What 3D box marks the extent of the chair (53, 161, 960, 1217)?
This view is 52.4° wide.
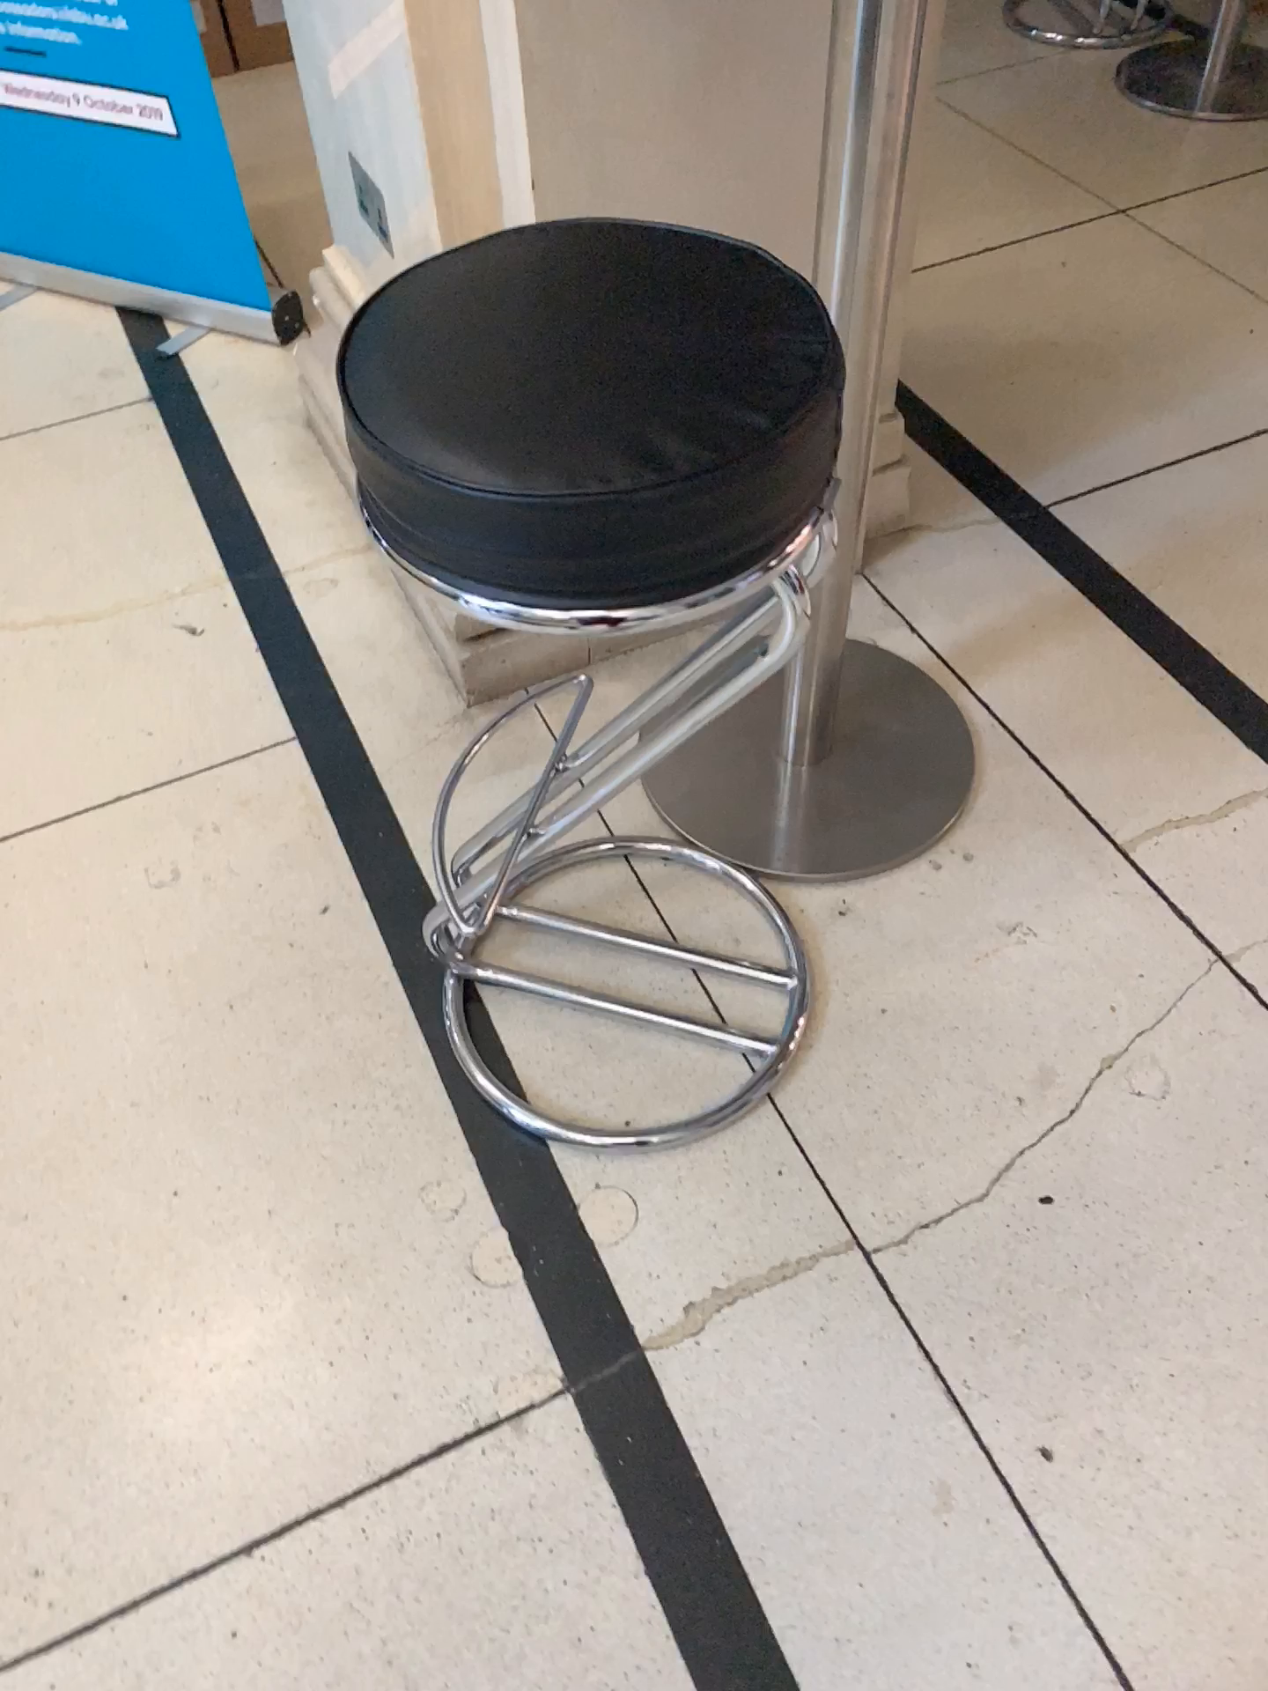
[{"bbox_3d":[-0.031,-0.095,1.191,0.503,0.813,0.467,9,52,12],"label":"chair"}]
